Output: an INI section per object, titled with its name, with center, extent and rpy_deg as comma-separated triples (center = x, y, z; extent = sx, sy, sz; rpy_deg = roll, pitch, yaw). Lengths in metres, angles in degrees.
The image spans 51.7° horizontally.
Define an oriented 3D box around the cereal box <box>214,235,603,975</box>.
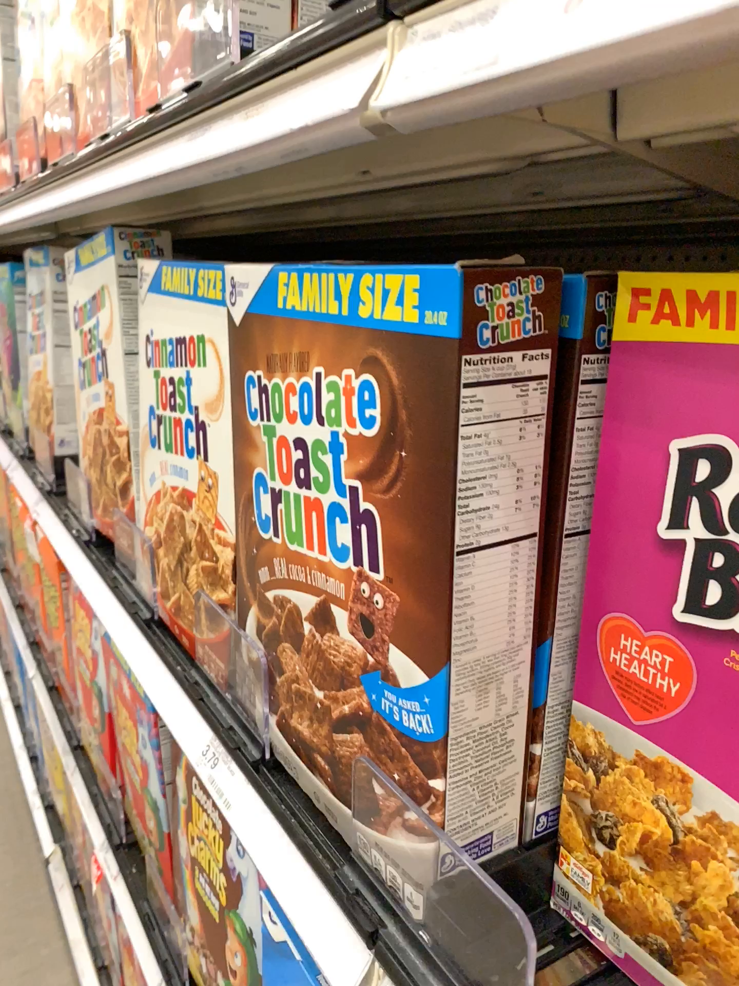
[cereal box]
center = -0.004, 0.030, 0.408
extent = 0.060, 0.309, 0.241
rpy_deg = -9, 18, -31
